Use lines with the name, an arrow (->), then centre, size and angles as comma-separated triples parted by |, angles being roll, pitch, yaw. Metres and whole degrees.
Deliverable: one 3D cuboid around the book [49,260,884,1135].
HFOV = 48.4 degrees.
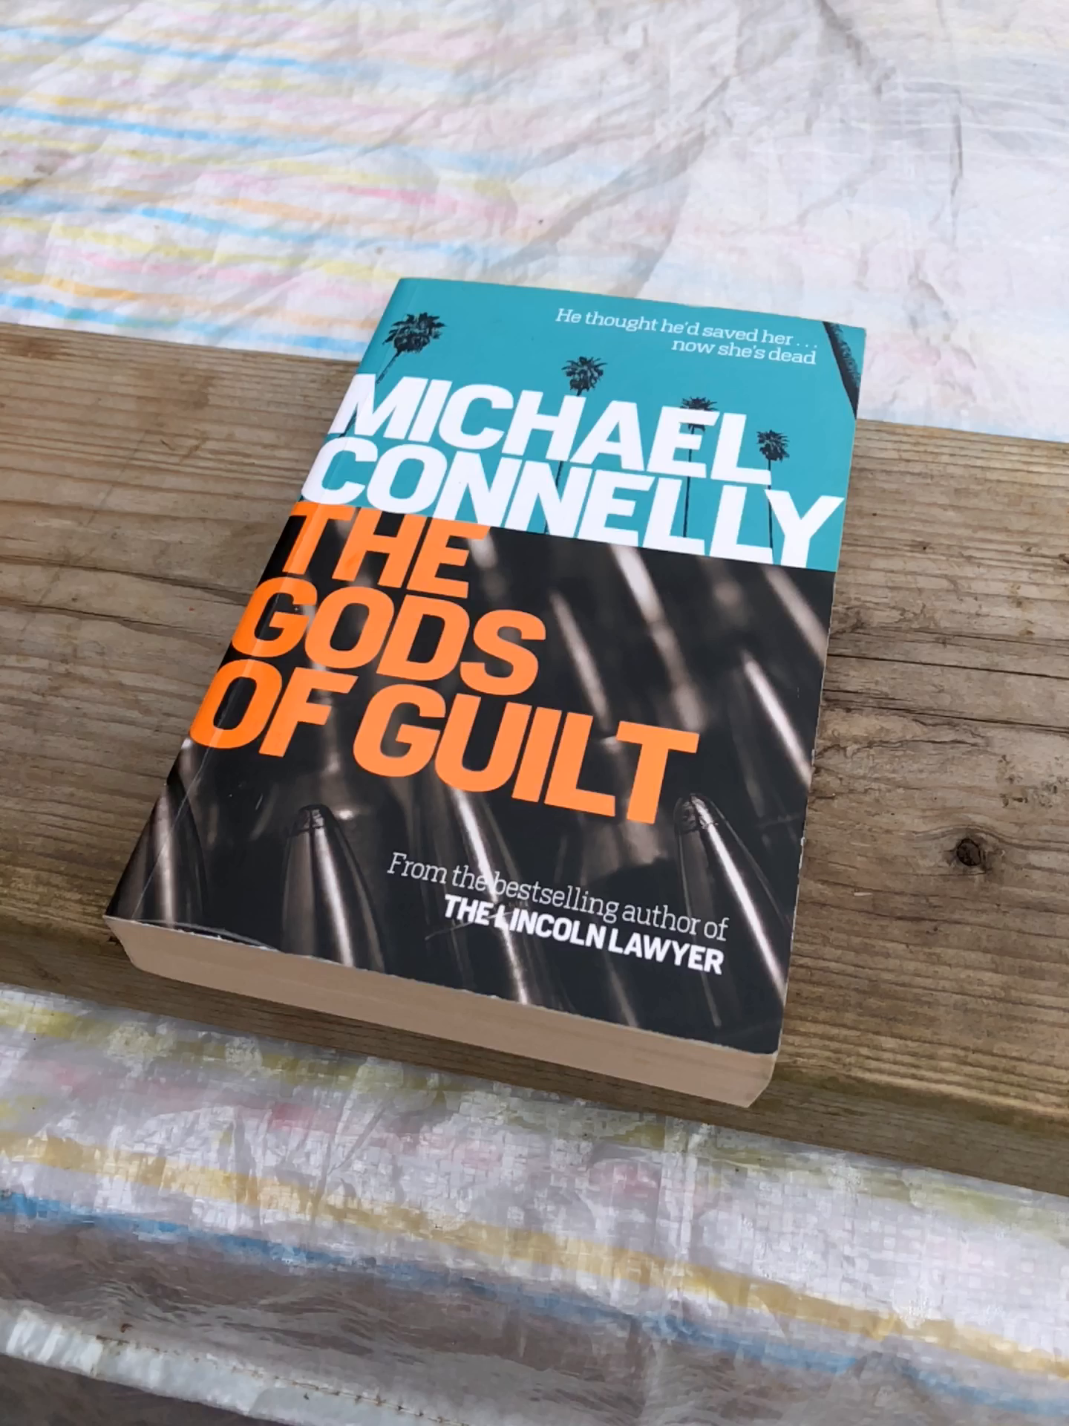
book -> 0.001, -0.022, 0.282 | 0.140, 0.040, 0.201 | 10, 57, 9
